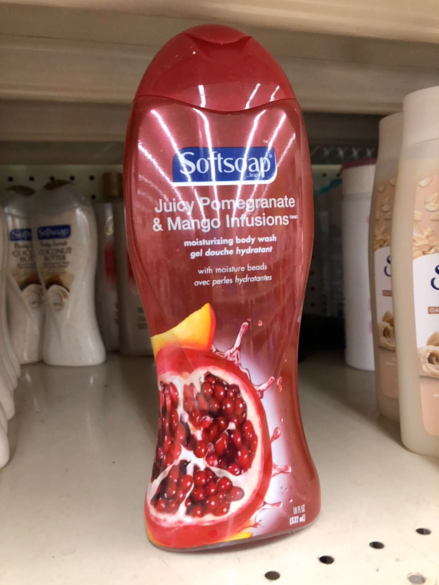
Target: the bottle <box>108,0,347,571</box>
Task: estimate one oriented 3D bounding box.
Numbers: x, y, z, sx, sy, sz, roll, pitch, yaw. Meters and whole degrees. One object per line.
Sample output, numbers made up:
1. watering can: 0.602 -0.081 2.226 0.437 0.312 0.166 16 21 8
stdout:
1. bottle: 0.004 -0.001 0.231 0.090 0.230 0.060 -3 7 -7
